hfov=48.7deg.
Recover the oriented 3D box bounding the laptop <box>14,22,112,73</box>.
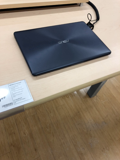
[{"bbox_3d":[0.017,-0.159,0.559,0.346,0.002,0.228,-18,60,-22],"label":"laptop"}]
